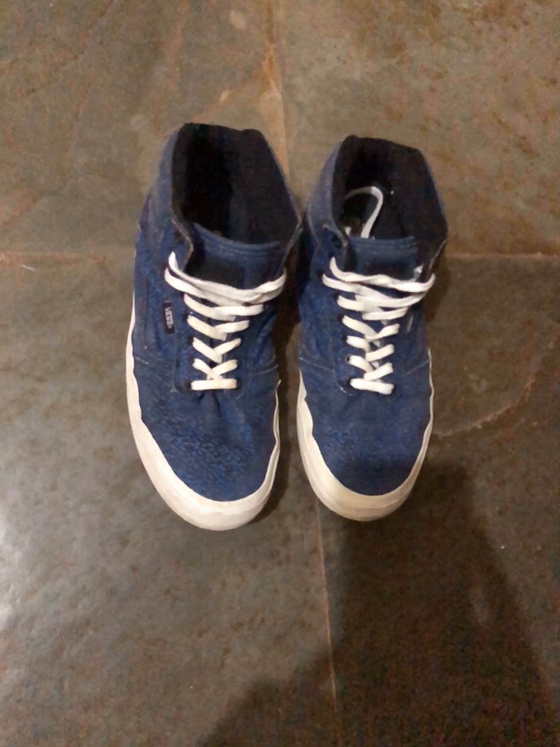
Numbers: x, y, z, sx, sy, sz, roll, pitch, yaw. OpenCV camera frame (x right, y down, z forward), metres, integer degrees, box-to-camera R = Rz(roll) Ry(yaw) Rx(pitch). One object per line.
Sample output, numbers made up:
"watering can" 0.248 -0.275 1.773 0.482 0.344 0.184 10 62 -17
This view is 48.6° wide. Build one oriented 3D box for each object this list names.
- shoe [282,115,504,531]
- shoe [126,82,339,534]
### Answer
"shoe" 0.071 -0.031 0.454 0.120 0.090 0.280 3 76 -13
"shoe" -0.045 -0.038 0.431 0.120 0.110 0.280 0 76 -14
